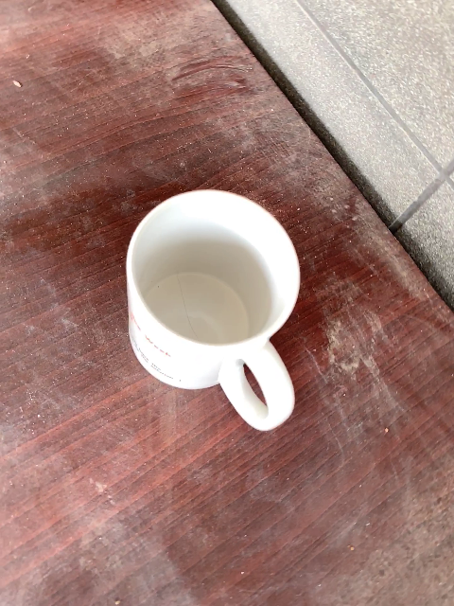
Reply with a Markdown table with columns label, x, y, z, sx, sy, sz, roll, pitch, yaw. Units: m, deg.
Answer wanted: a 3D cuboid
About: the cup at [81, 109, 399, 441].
| label | x | y | z | sx | sy | sz | roll | pitch | yaw |
| --- | --- | --- | --- | --- | --- | --- | --- | --- | --- |
| cup | -0.002 | -0.009 | 0.250 | 0.090 | 0.100 | 0.120 | -30 | 76 | -21 |
